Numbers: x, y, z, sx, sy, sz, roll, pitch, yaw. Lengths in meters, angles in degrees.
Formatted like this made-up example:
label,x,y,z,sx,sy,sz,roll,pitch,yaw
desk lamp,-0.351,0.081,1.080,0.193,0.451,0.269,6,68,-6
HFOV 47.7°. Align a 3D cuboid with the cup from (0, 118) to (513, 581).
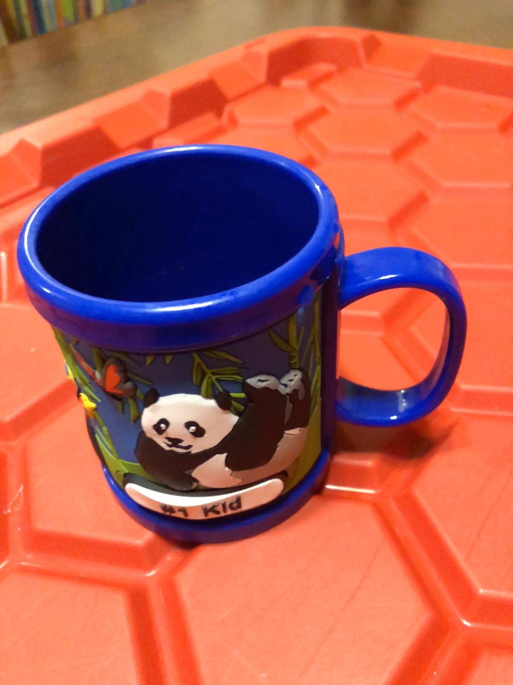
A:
label,x,y,z,sx,sy,sz,roll,pitch,yaw
cup,-0.002,0.002,0.175,0.120,0.099,0.091,1,43,6
